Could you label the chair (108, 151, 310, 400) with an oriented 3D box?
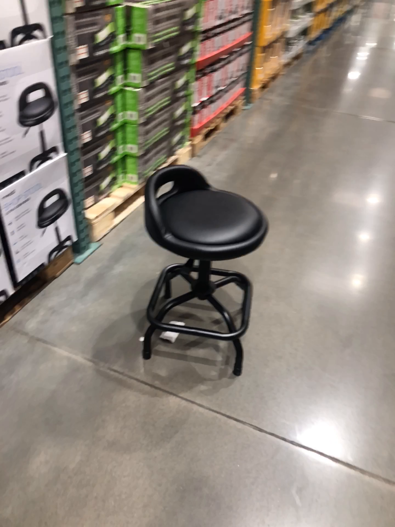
[{"bbox_3d":[0.047,0.022,1.613,0.501,0.627,0.522,18,39,18],"label":"chair"}]
